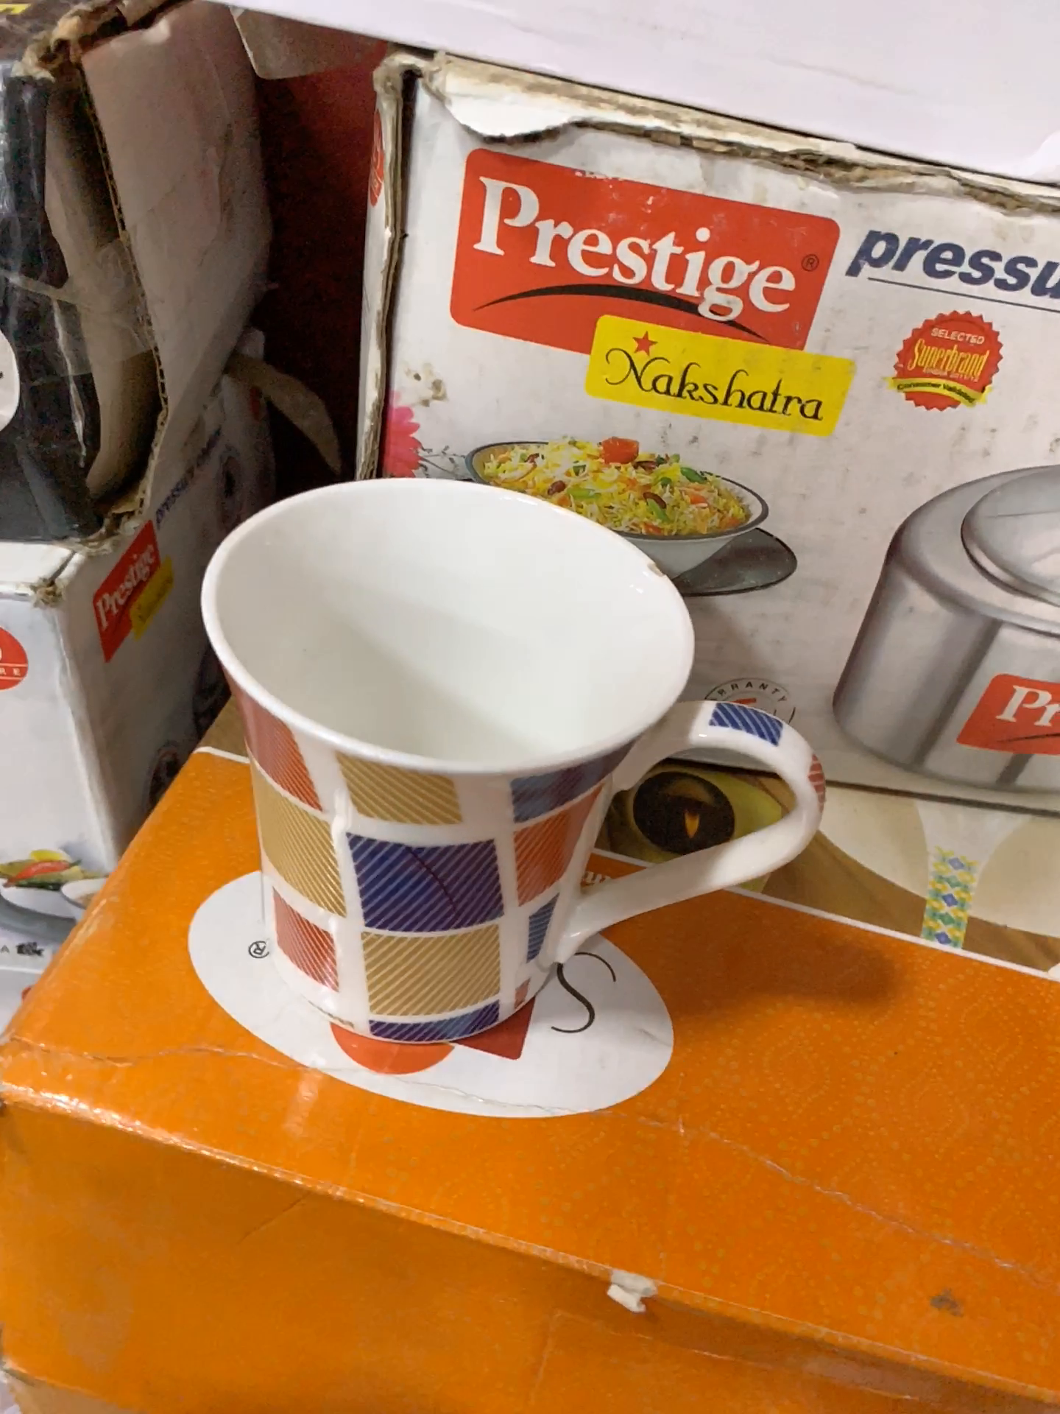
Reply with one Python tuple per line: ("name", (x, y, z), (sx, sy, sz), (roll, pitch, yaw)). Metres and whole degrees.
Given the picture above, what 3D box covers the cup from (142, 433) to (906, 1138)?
("cup", (-0.005, 0.016, 0.199), (0.100, 0.089, 0.071), (8, 40, -3))
